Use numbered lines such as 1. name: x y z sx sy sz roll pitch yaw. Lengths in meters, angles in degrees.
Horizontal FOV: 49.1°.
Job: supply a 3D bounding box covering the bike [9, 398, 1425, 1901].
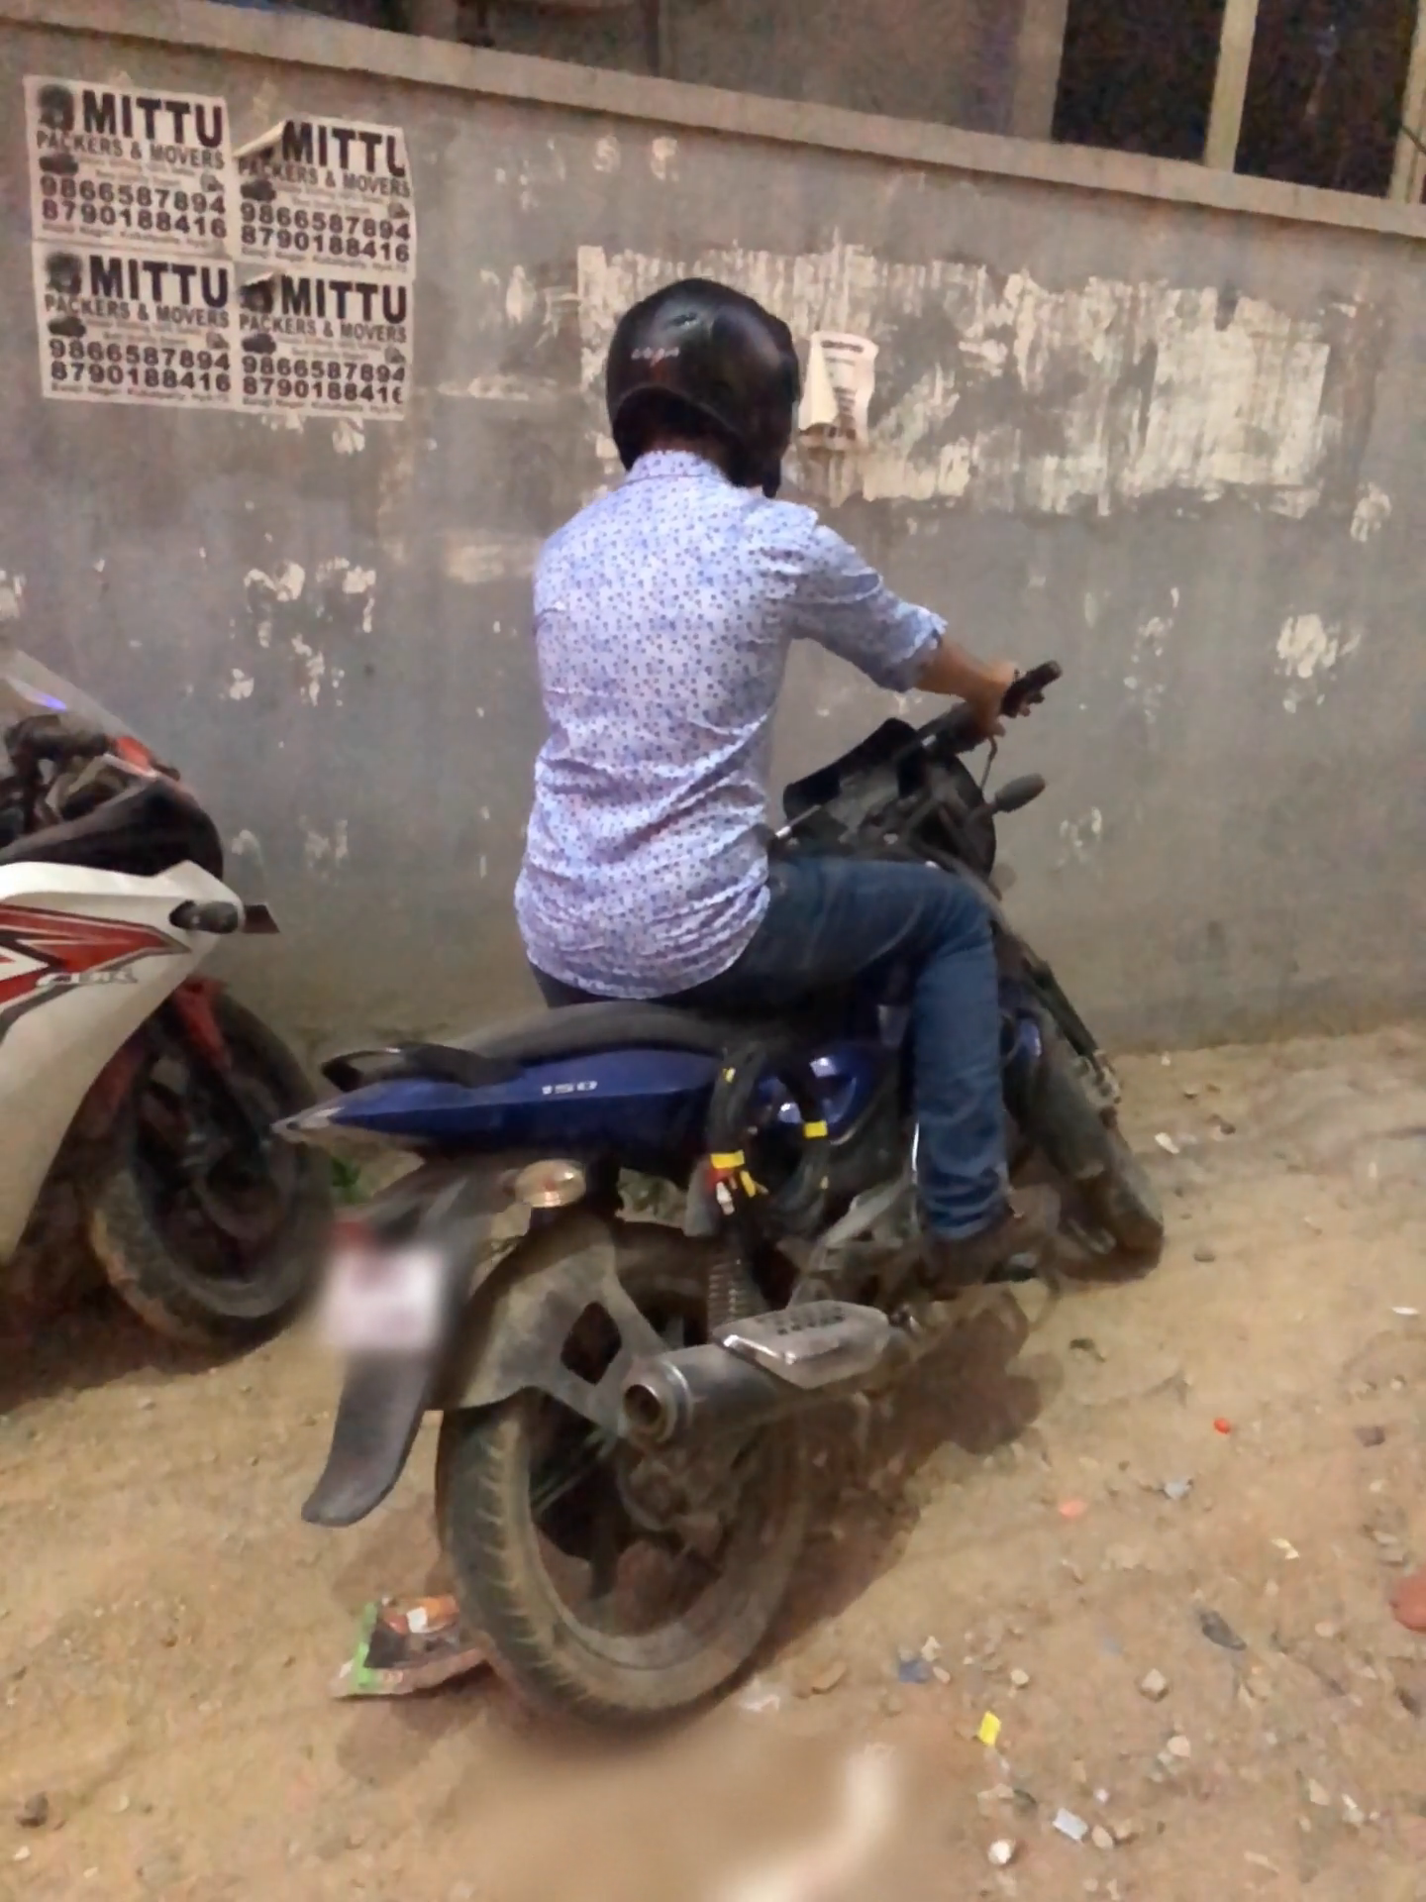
1. bike: 0.146 0.018 2.149 1.091 1.114 1.511 13 29 25
